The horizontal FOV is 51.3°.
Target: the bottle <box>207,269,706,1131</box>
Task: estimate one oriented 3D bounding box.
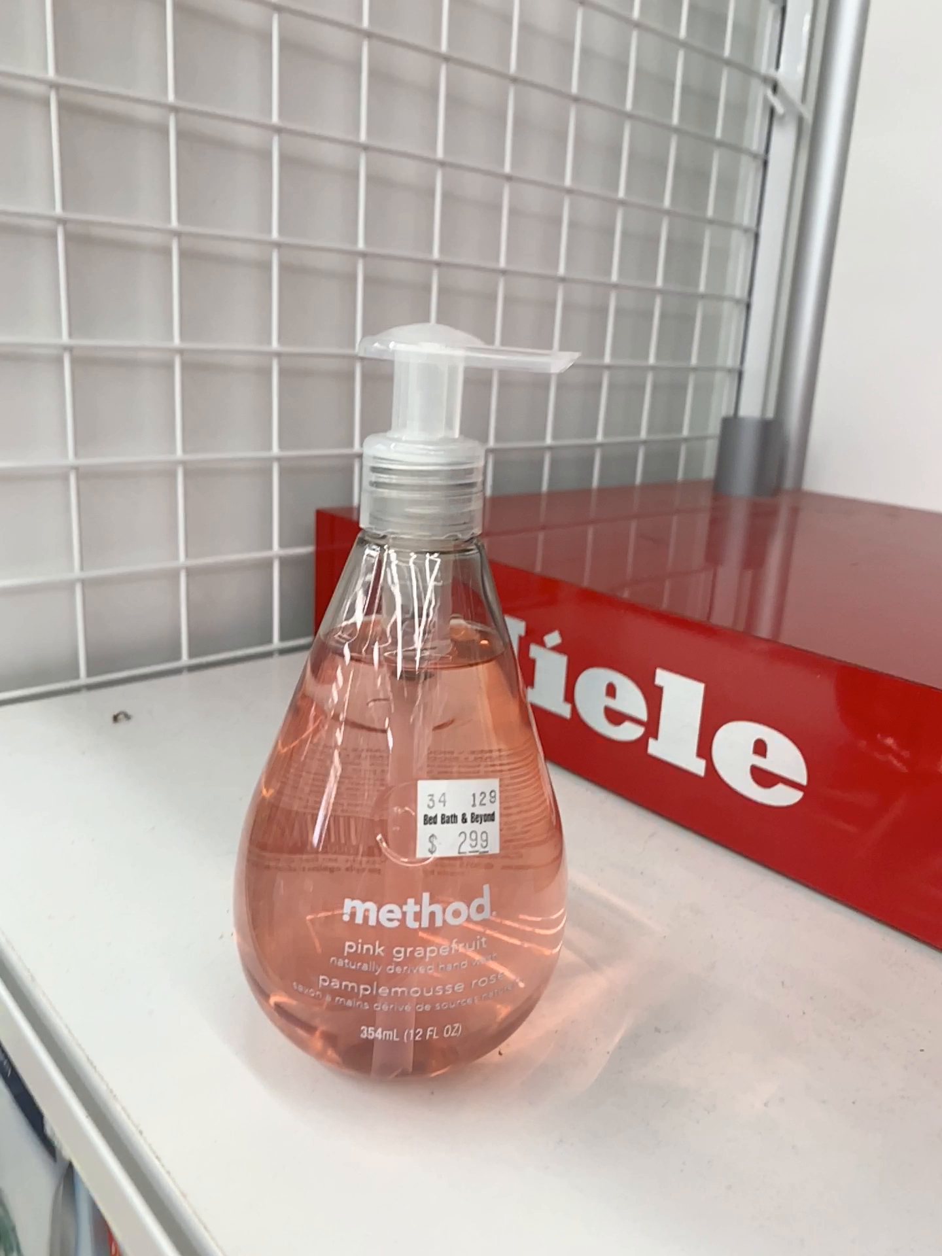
[{"bbox_3d":[-0.010,0.012,0.214,0.080,0.160,0.078,3,15,-1],"label":"bottle"}]
